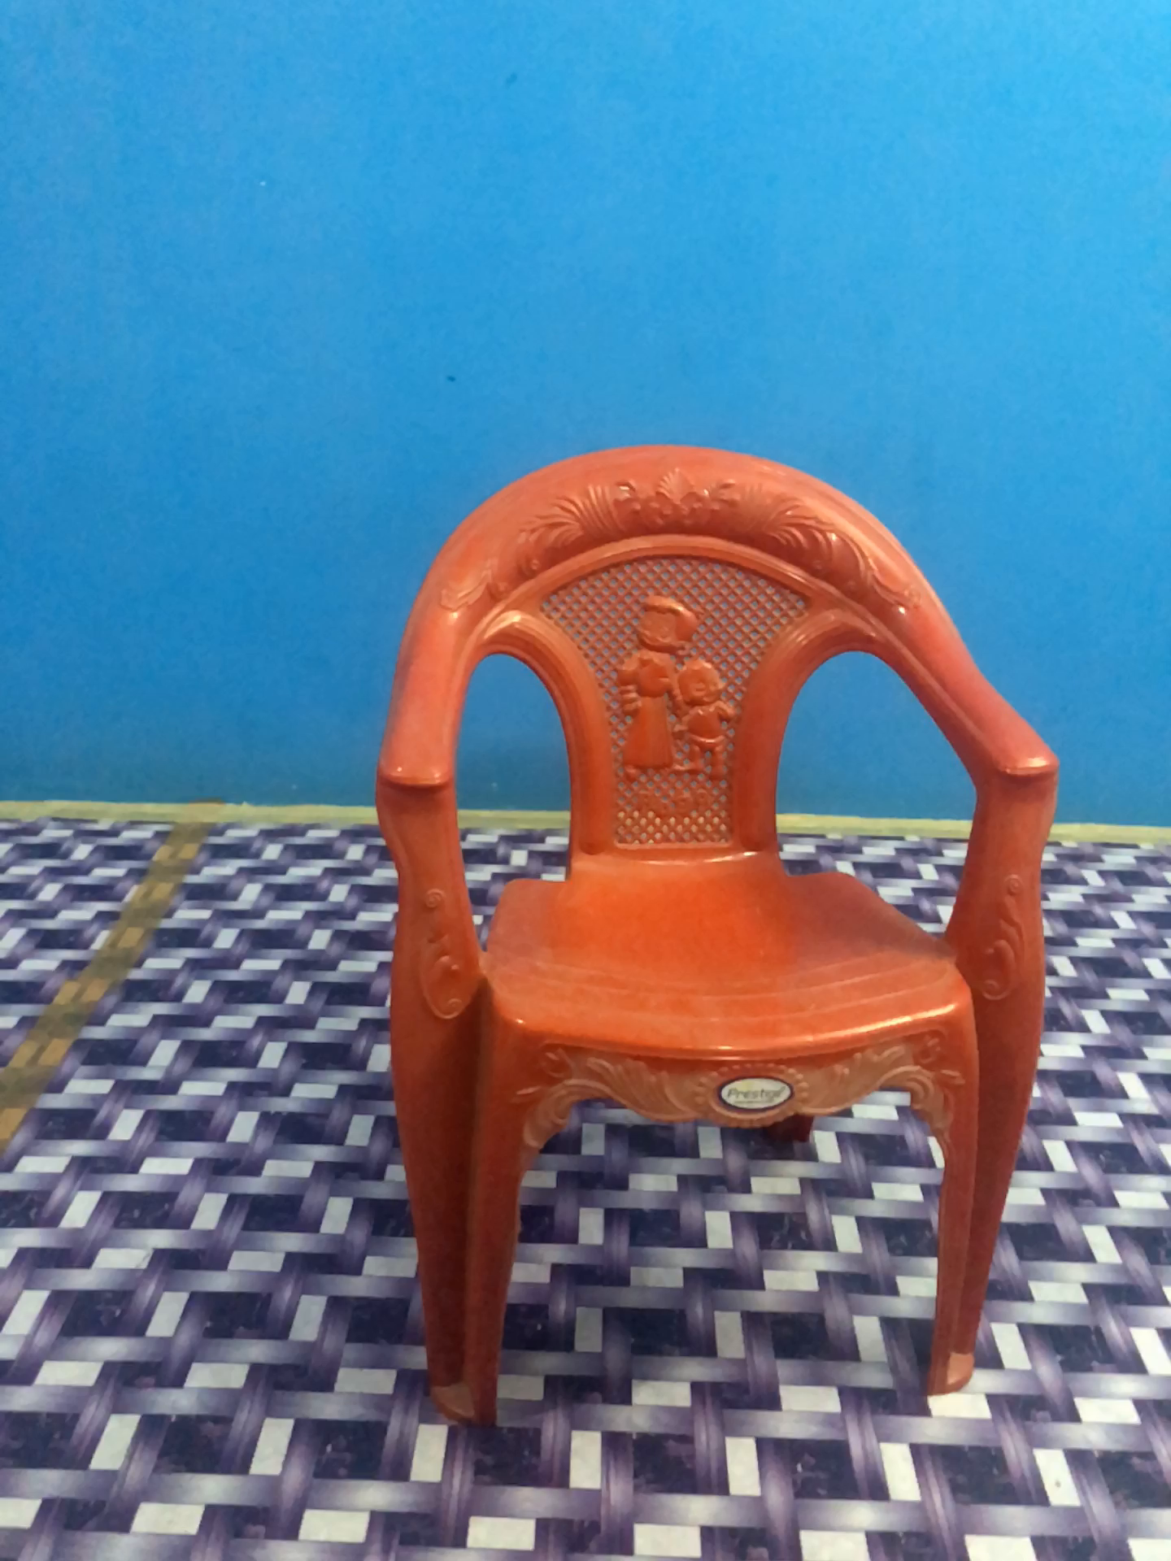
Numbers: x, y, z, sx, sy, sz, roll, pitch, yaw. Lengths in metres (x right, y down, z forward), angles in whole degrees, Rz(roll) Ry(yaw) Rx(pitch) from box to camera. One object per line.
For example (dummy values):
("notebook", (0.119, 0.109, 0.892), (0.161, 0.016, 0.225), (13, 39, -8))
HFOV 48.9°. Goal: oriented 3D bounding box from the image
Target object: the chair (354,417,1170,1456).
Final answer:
("chair", (0.081, 0.075, 0.861), (0.410, 0.557, 0.382), (0, 23, -5))
